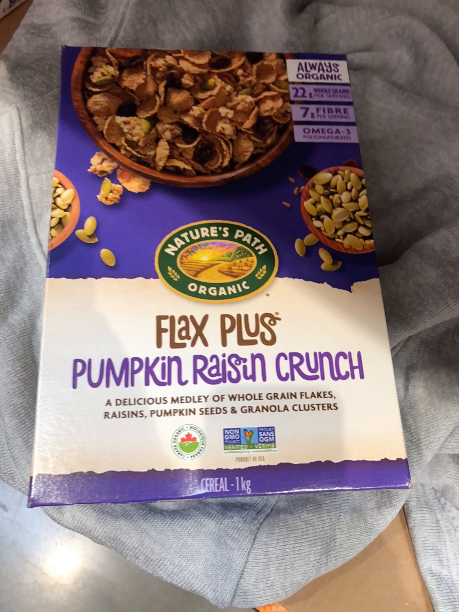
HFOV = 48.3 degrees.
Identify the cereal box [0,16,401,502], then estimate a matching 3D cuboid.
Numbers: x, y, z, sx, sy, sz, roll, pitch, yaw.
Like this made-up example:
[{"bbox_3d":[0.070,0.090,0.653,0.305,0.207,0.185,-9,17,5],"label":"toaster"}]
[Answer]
[{"bbox_3d":[-0.024,-0.038,0.353,0.210,0.090,0.310,-1,71,-6],"label":"cereal box"}]
